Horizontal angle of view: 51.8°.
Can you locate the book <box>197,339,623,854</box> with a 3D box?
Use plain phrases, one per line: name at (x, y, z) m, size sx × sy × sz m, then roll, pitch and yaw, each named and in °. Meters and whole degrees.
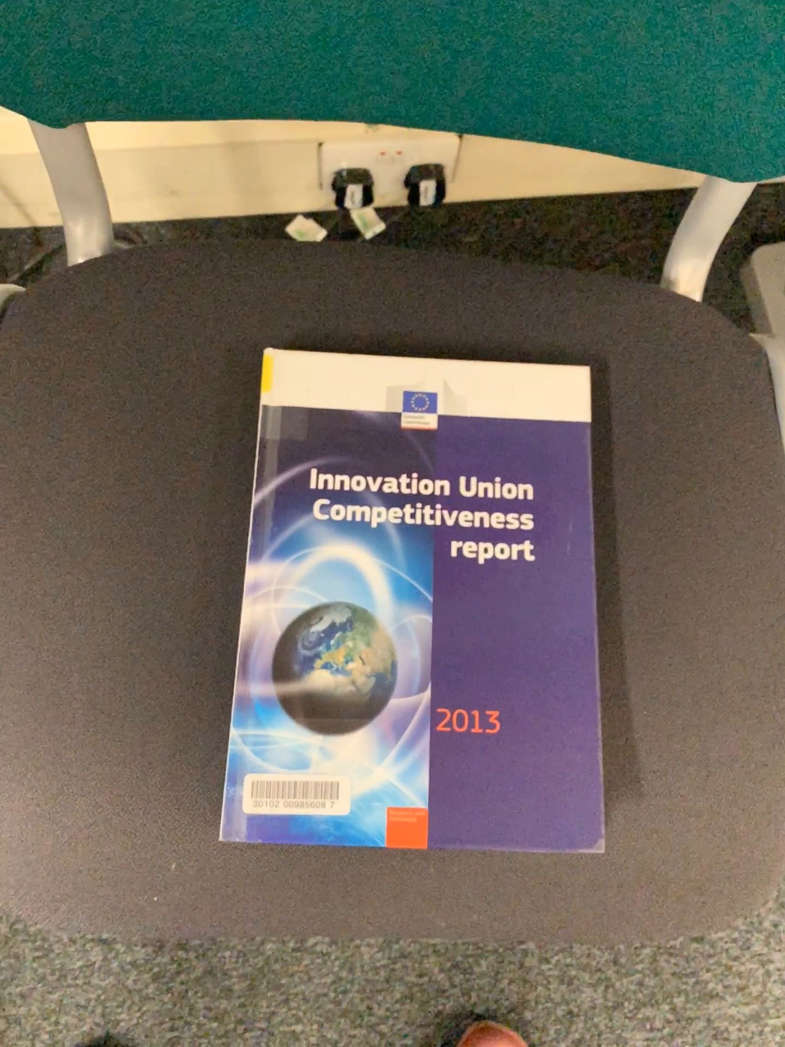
book at (0.014, 0.029, 0.414) m, size 0.194 × 0.026 × 0.251 m, roll 3°, pitch 74°, yaw 0°
